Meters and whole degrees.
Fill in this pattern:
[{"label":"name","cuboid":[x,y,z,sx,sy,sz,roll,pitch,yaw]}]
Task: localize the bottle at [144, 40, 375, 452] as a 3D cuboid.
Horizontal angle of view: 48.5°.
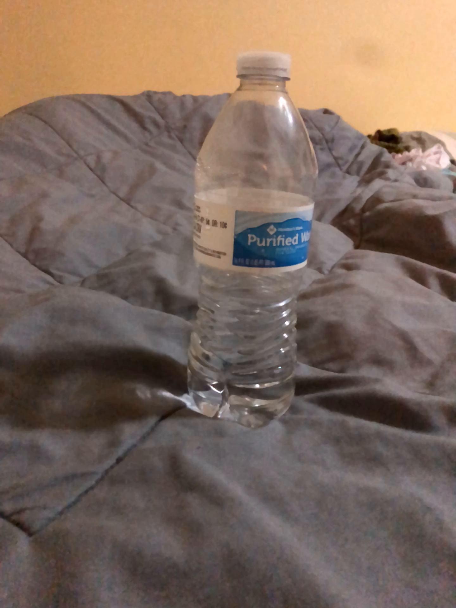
[{"label":"bottle","cuboid":[0.012,-0.032,0.280,0.080,0.190,0.080,1,21,0]}]
